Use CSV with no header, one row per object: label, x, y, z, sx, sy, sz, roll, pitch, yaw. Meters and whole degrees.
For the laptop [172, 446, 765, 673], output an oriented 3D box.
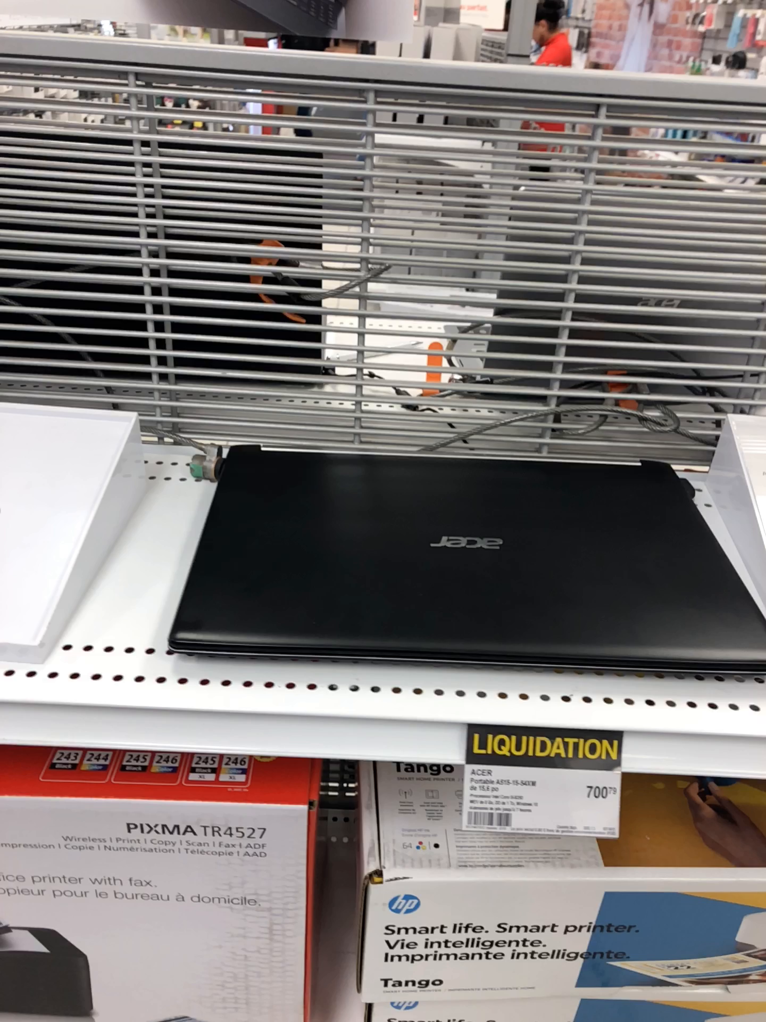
laptop,0.058,0.023,0.595,0.361,0.012,0.228,2,34,-3
